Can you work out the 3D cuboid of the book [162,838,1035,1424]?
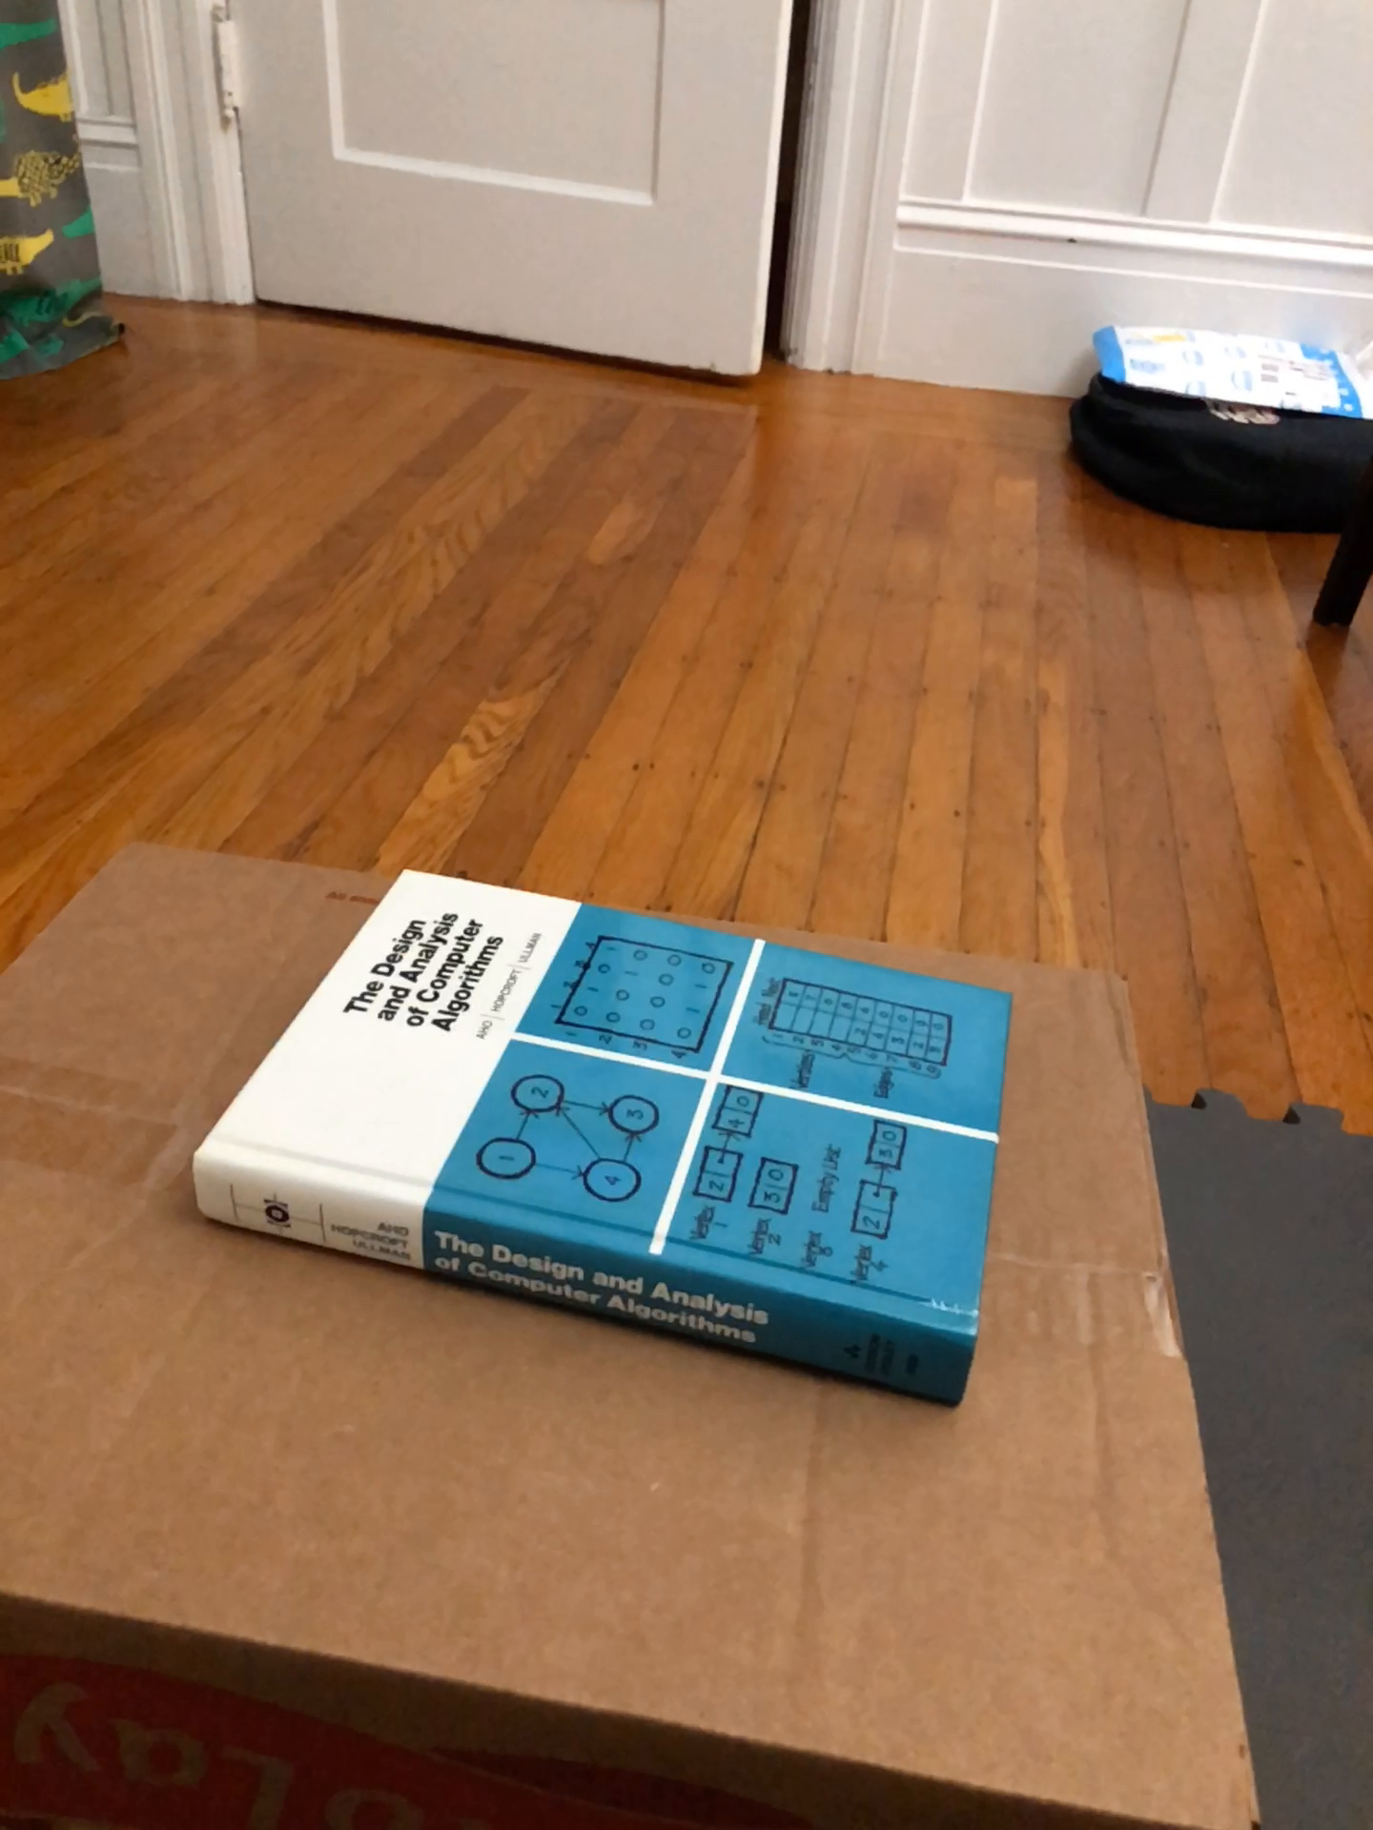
[{"bbox_3d":[-0.015,0.060,0.535,0.260,0.040,0.191,11,35,9],"label":"book"}]
